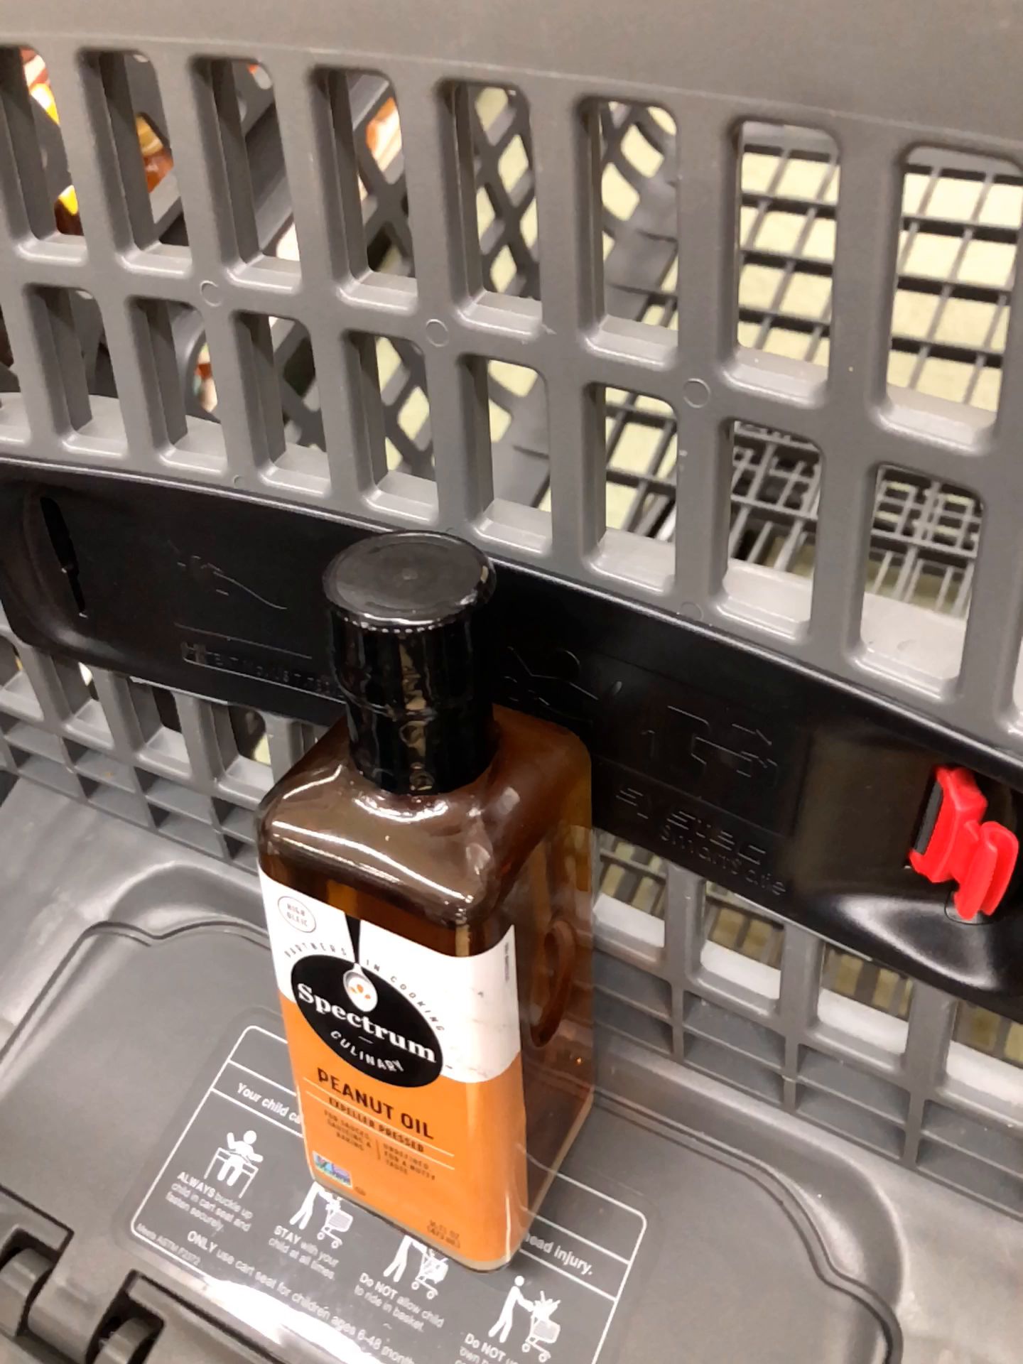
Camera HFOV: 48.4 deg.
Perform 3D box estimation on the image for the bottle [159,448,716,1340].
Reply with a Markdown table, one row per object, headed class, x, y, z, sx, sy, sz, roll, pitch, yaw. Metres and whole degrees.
| class | x | y | z | sx | sy | sz | roll | pitch | yaw |
| --- | --- | --- | --- | --- | --- | --- | --- | --- | --- |
| bottle | -0.009 | 0.056 | 0.255 | 0.070 | 0.190 | 0.070 | -1 | 38 | 1 |
